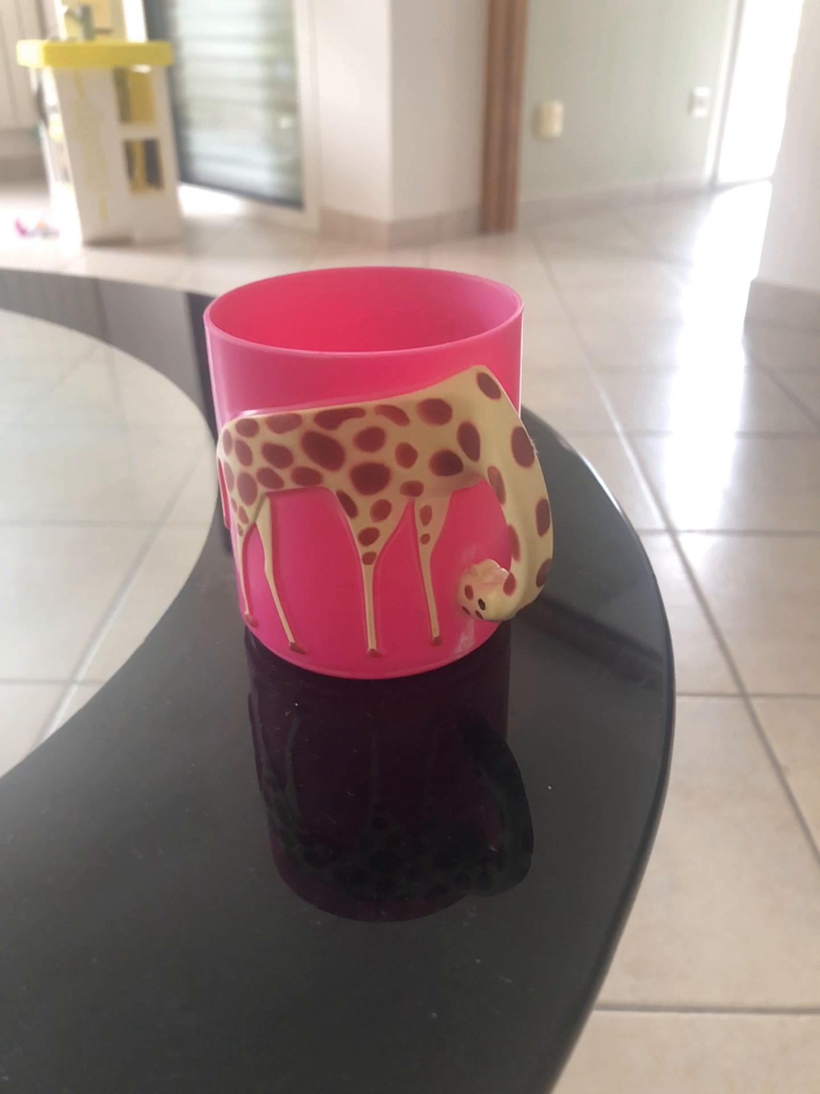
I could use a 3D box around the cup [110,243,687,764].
[{"bbox_3d":[-0.003,-0.018,0.198,0.090,0.070,0.070,21,35,33],"label":"cup"}]
